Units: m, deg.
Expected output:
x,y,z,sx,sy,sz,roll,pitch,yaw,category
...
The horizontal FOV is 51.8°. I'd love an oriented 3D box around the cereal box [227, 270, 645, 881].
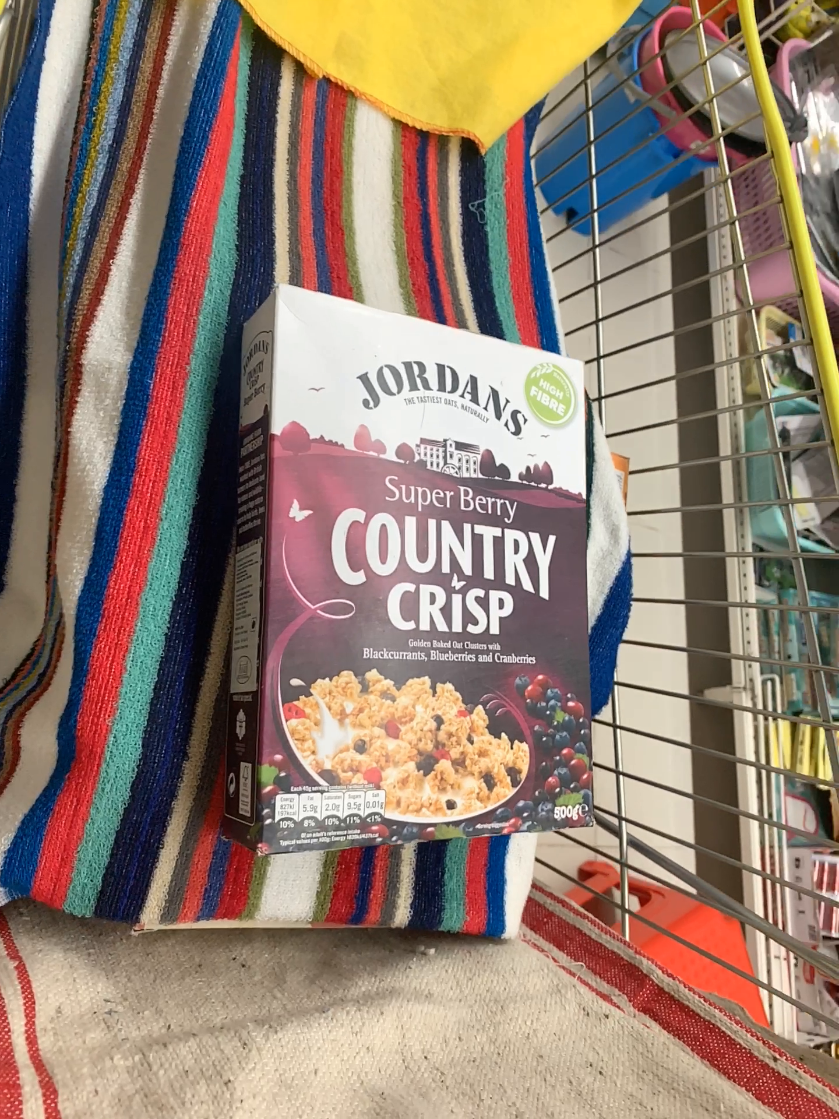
x,y,z,sx,sy,sz,roll,pitch,yaw,category
0.012,0.011,0.404,0.181,0.060,0.240,5,79,-28,cereal box
